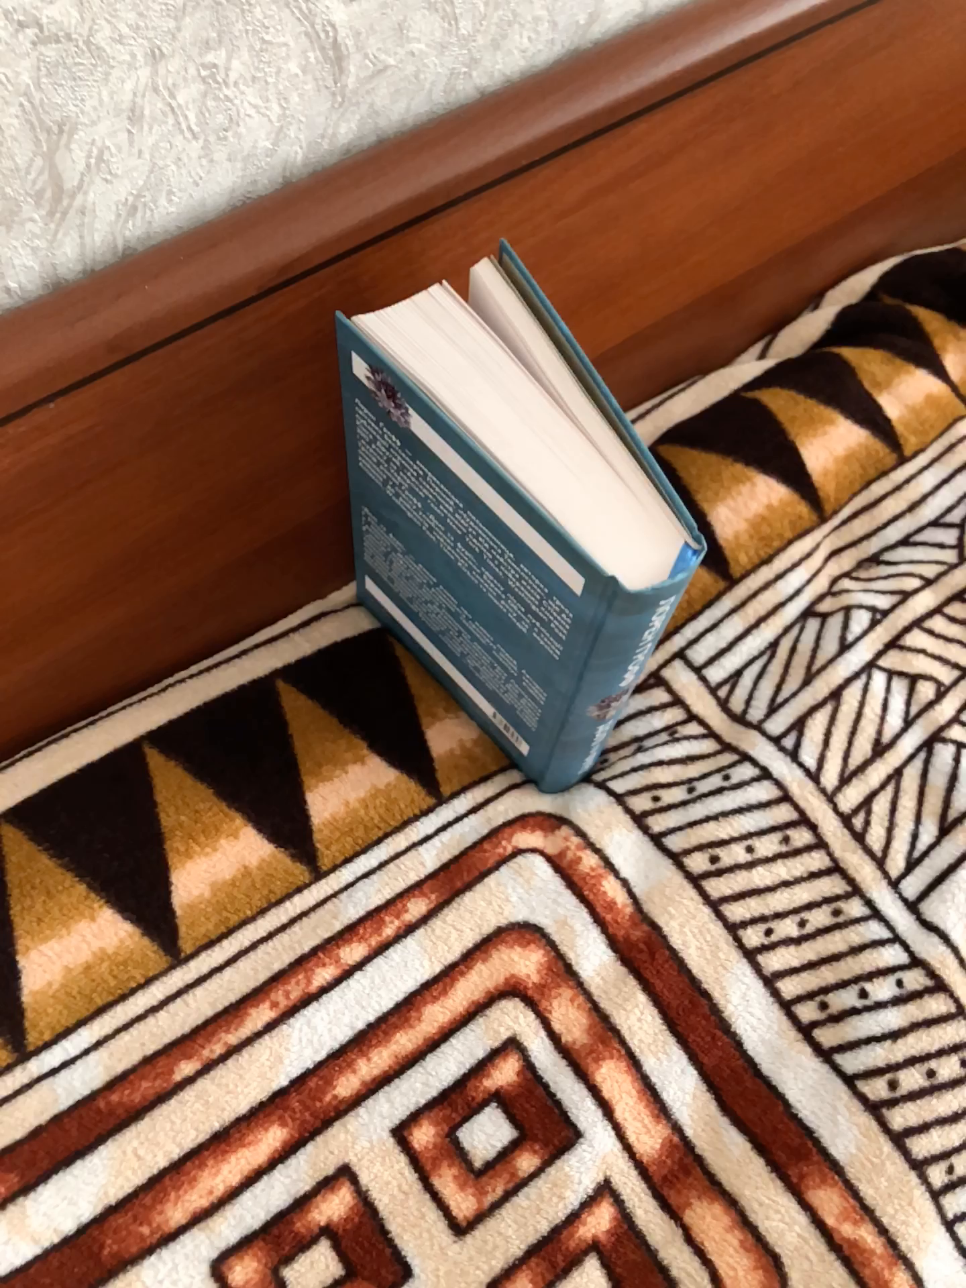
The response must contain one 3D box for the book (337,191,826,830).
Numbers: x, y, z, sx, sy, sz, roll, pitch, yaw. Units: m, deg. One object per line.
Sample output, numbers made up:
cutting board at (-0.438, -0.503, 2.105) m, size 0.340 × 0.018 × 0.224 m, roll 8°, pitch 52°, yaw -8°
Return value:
book at (0.022, -0.040, 0.434) m, size 0.078 × 0.199 × 0.160 m, roll -31°, pitch 69°, yaw -18°
